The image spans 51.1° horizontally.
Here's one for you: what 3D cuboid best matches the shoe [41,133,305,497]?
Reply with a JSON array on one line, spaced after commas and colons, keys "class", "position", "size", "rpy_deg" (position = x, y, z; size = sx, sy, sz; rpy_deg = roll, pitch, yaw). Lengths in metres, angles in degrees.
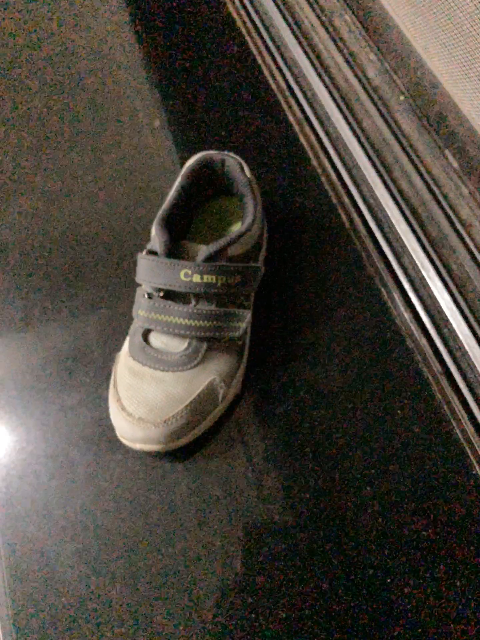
[{"class": "shoe", "position": [-0.031, -0.008, 0.356], "size": [0.090, 0.080, 0.231], "rpy_deg": [16, 70, 13]}]
